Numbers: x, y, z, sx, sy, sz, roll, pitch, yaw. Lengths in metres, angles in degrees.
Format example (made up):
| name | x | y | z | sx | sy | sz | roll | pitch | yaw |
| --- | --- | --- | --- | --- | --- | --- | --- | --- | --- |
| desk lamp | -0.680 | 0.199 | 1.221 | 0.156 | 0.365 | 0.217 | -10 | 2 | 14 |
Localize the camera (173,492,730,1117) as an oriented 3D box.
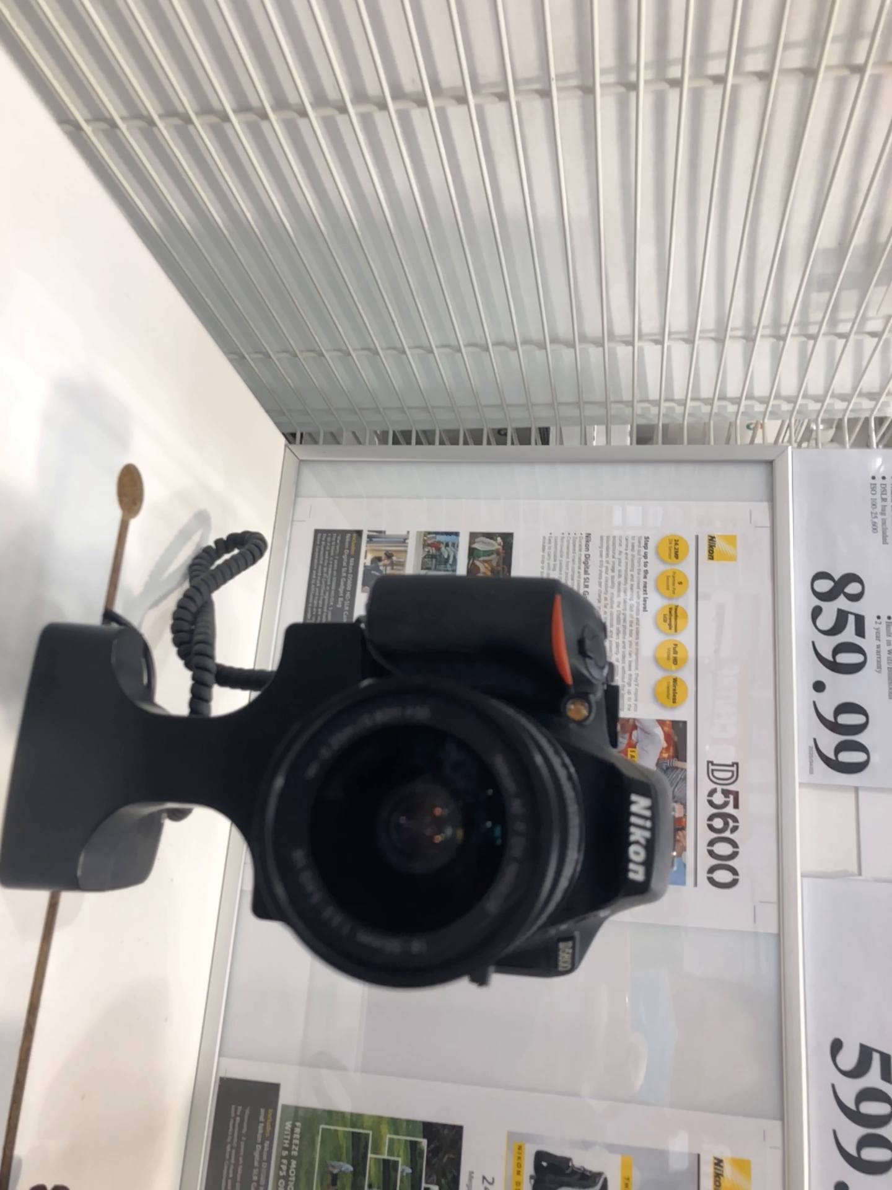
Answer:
| name | x | y | z | sx | sy | sz | roll | pitch | yaw |
| --- | --- | --- | --- | --- | --- | --- | --- | --- | --- |
| camera | 0.015 | 0.052 | 0.279 | 0.160 | 0.110 | 0.120 | 50 | 42 | -76 |
